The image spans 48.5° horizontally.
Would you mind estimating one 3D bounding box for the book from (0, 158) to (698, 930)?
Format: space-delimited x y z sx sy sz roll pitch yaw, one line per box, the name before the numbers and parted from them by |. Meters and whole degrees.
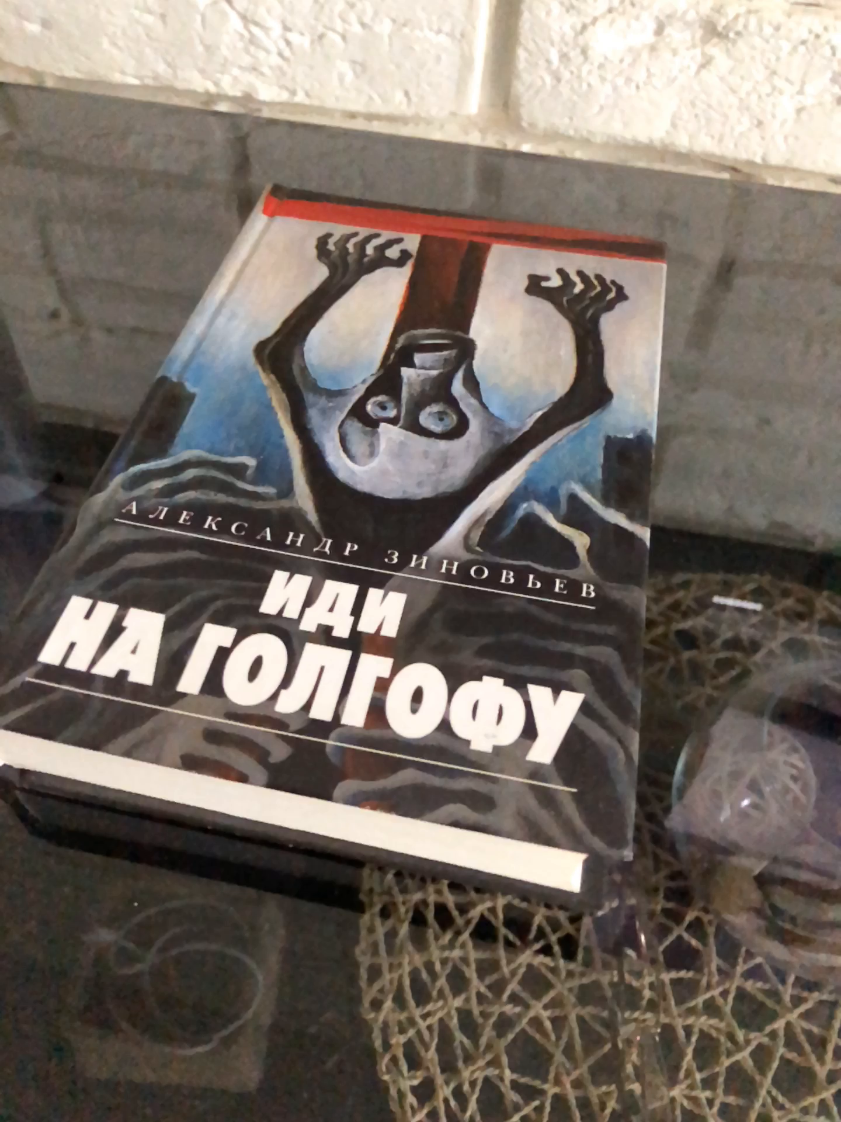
book | -0.008 -0.030 0.233 0.140 0.030 0.201 11 50 7
